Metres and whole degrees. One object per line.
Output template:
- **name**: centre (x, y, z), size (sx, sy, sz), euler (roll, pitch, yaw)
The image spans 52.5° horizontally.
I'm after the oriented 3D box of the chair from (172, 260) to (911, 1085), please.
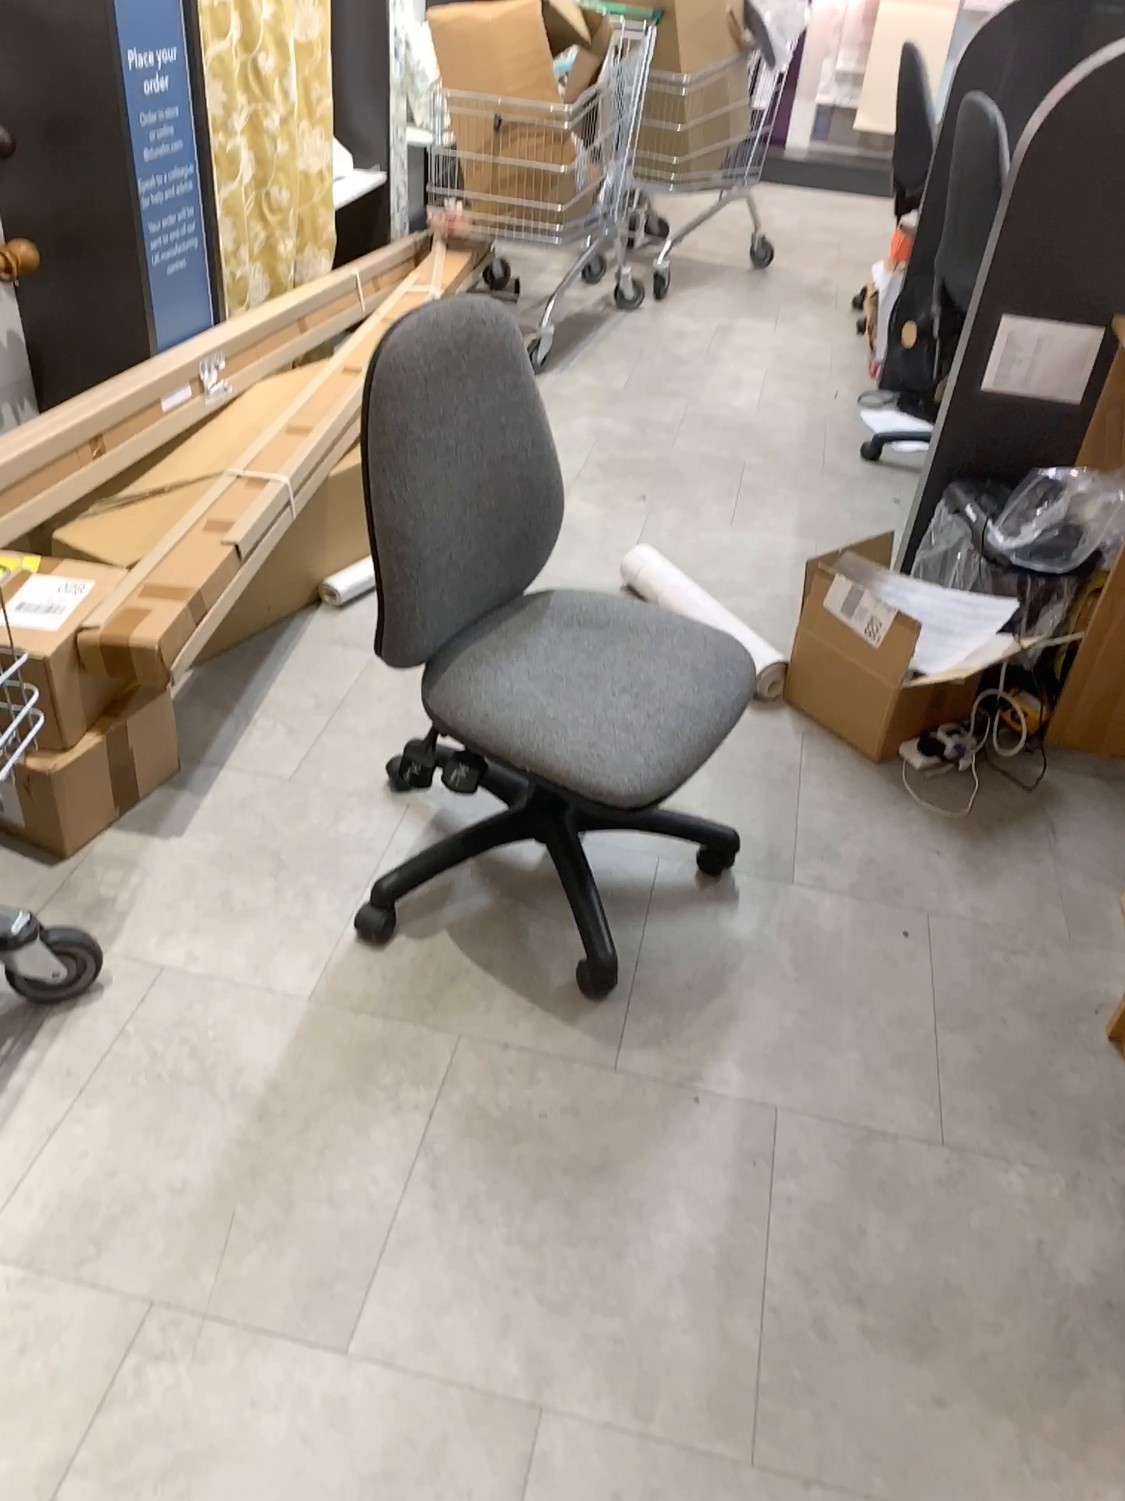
- **chair**: centre (-0.020, -0.149, 1.546), size (0.625, 0.750, 0.631), euler (23, 40, 22)
